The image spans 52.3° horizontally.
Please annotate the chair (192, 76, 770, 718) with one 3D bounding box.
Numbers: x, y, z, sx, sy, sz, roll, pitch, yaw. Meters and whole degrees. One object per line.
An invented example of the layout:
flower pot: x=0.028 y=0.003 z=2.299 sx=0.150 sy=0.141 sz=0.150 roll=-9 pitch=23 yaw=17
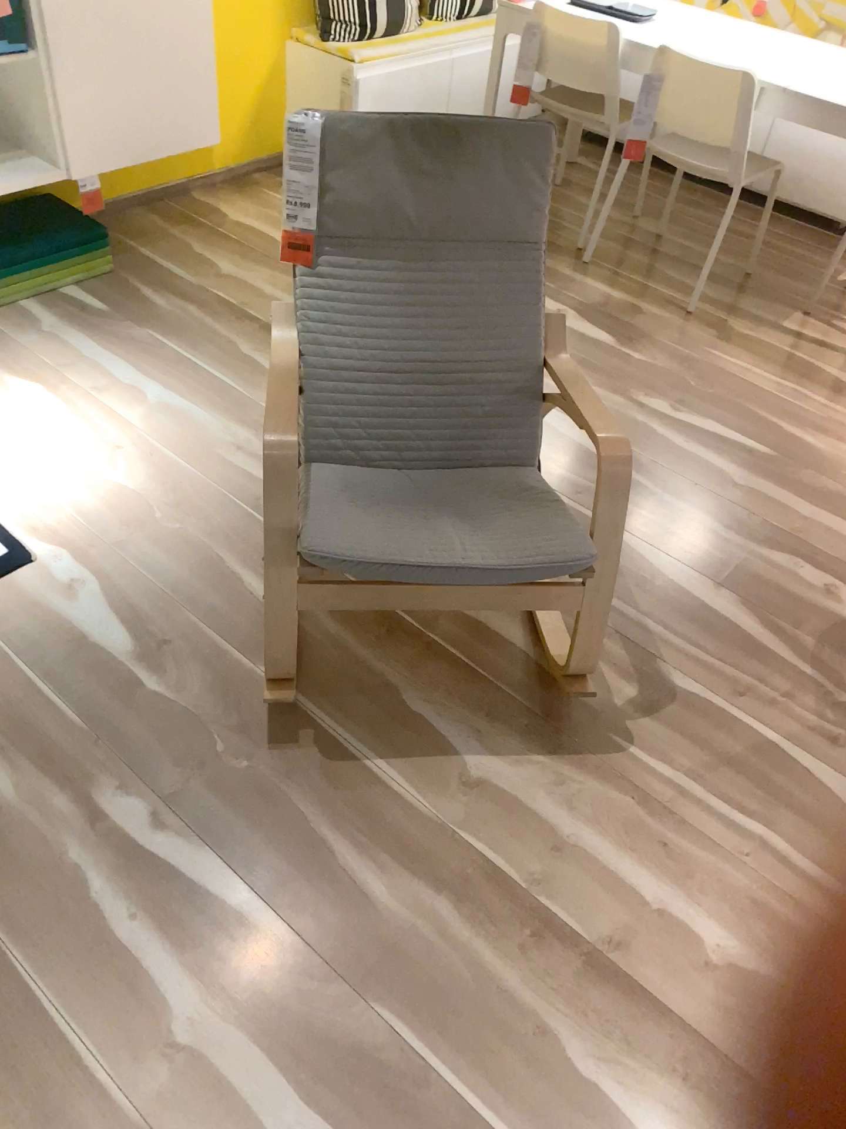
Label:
chair: x=0.007 y=-0.284 z=1.641 sx=0.730 sy=0.917 sz=0.723 roll=0 pitch=45 yaw=-8
